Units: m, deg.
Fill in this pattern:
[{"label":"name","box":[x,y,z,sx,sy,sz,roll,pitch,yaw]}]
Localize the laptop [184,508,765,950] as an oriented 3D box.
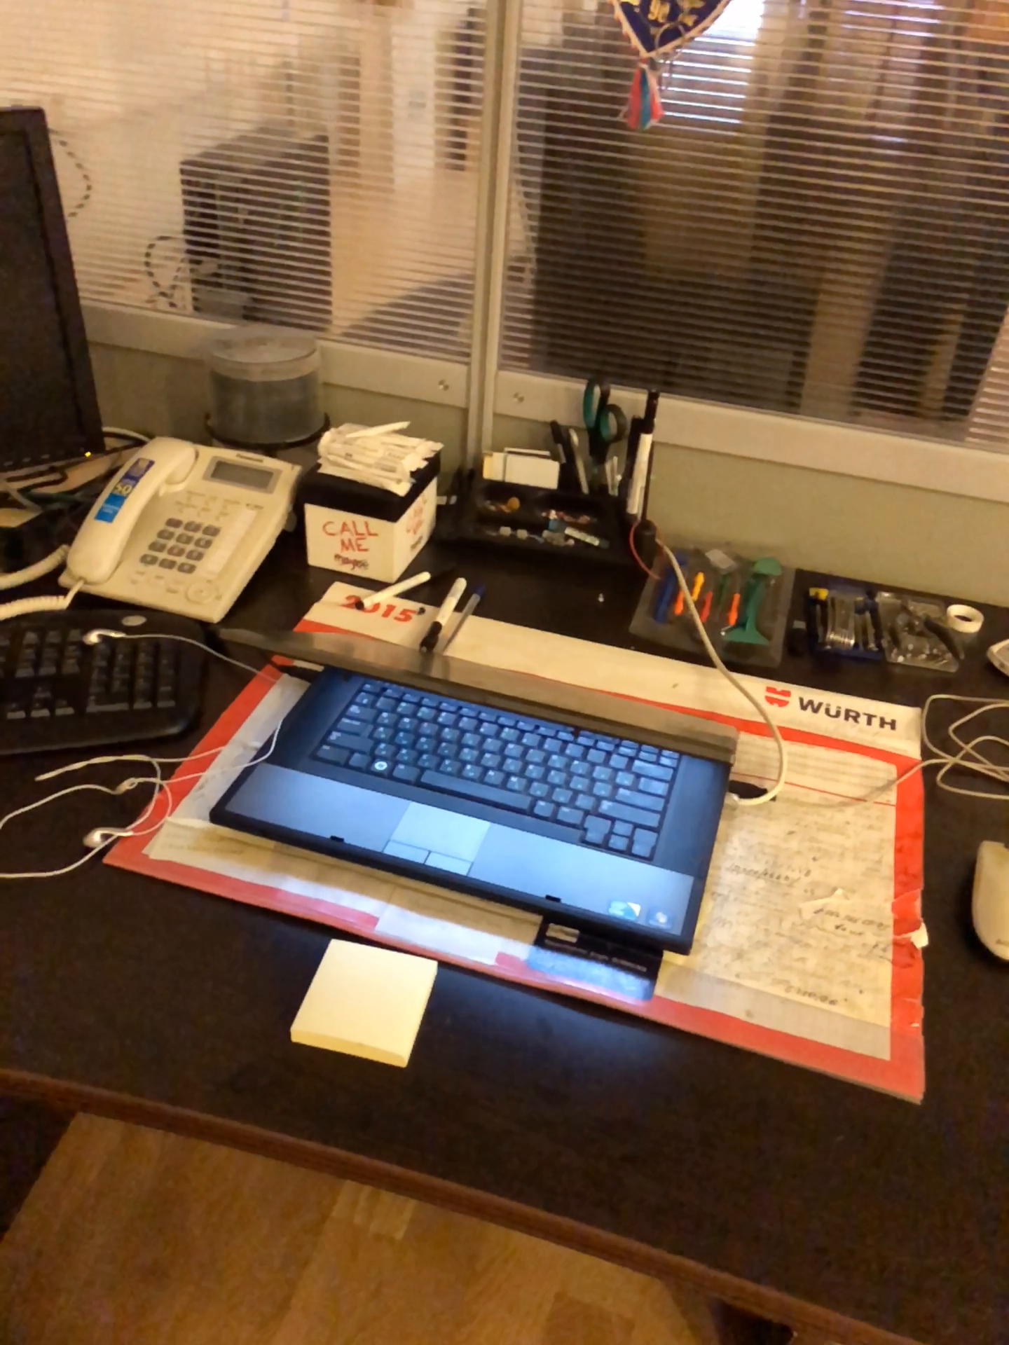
[{"label":"laptop","box":[-0.010,0.025,0.835,0.357,0.141,0.240,14,36,11]}]
